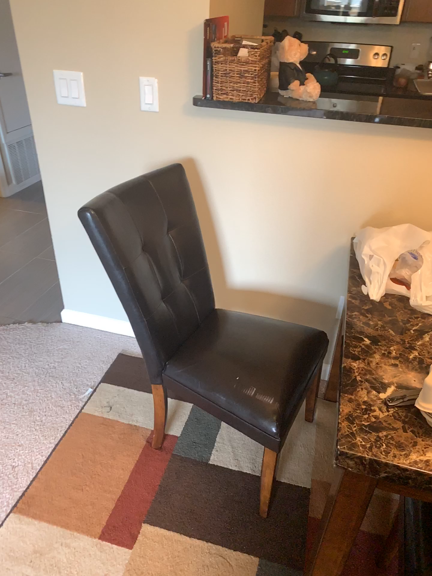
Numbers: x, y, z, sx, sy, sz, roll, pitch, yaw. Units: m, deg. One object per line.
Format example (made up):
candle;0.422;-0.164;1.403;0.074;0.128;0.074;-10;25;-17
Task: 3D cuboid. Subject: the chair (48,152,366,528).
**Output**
chair;0.029;0.112;1.629;0.731;0.924;0.814;15;34;19
